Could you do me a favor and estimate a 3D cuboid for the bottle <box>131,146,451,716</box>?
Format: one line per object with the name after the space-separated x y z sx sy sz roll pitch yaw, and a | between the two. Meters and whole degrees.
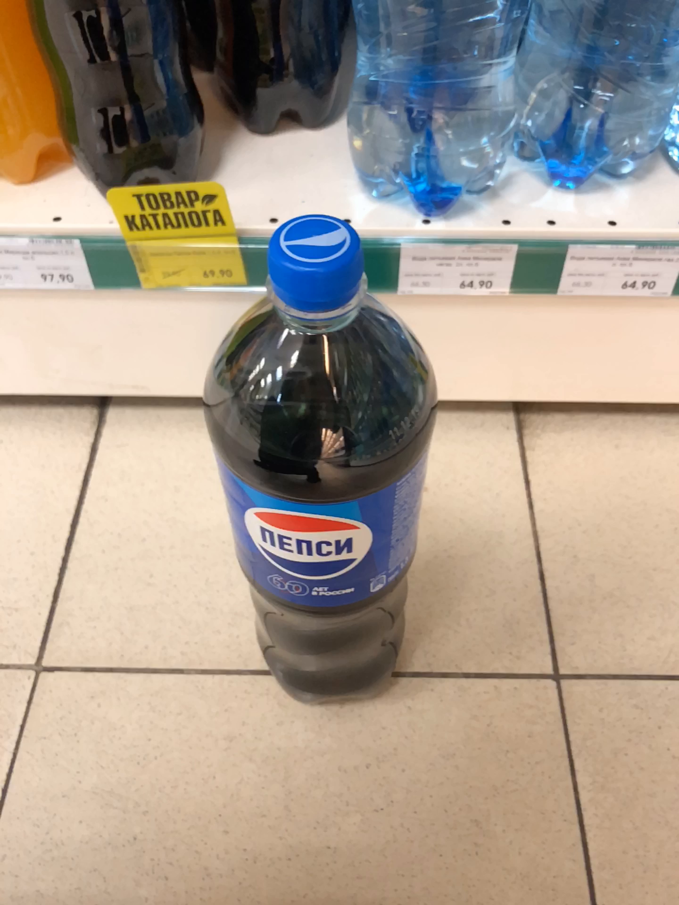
-0.009 0.026 0.358 0.089 0.315 0.085 0 52 0 | bottle
